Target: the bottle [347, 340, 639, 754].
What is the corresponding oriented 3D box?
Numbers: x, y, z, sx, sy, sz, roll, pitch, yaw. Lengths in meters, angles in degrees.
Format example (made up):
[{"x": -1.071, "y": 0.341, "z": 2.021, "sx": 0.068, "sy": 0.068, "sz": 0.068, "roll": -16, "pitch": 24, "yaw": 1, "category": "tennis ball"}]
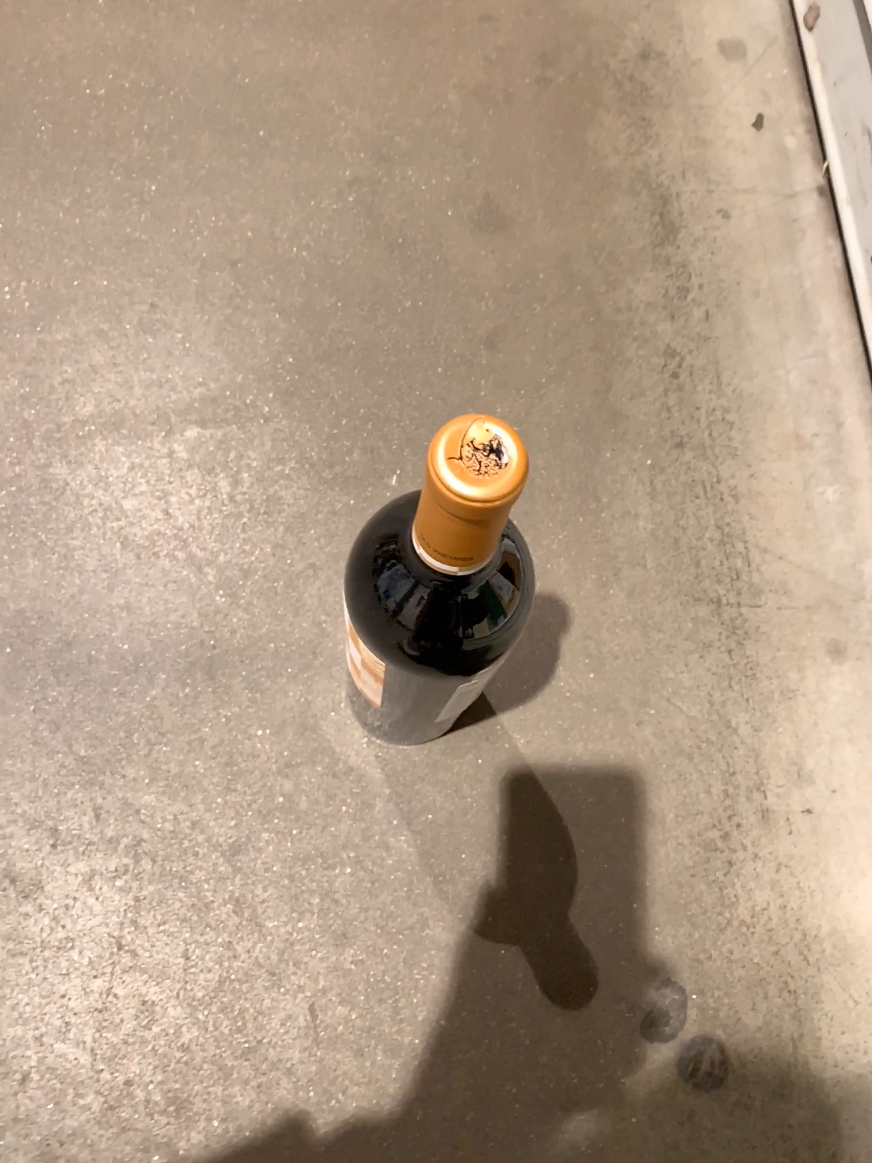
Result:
[{"x": 0.001, "y": 0.015, "z": 0.416, "sx": 0.080, "sy": 0.318, "sz": 0.080, "roll": 2, "pitch": 71, "yaw": -5, "category": "bottle"}]
